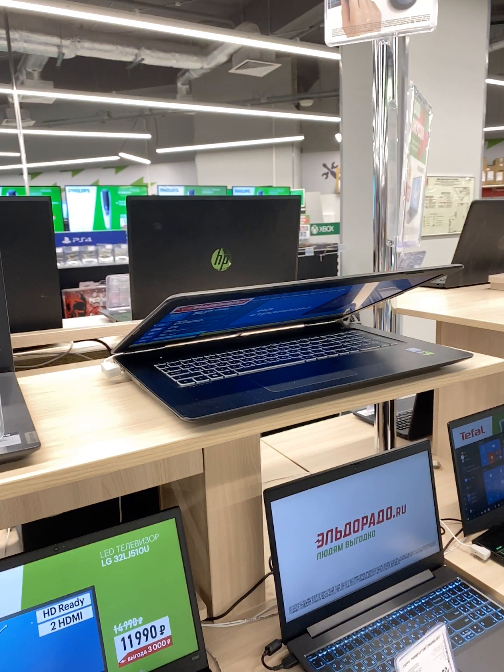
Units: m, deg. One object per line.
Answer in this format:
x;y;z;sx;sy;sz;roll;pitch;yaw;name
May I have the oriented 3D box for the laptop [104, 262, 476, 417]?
0.044;-0.024;0.679;0.396;0.103;0.264;-8;15;-28;laptop
